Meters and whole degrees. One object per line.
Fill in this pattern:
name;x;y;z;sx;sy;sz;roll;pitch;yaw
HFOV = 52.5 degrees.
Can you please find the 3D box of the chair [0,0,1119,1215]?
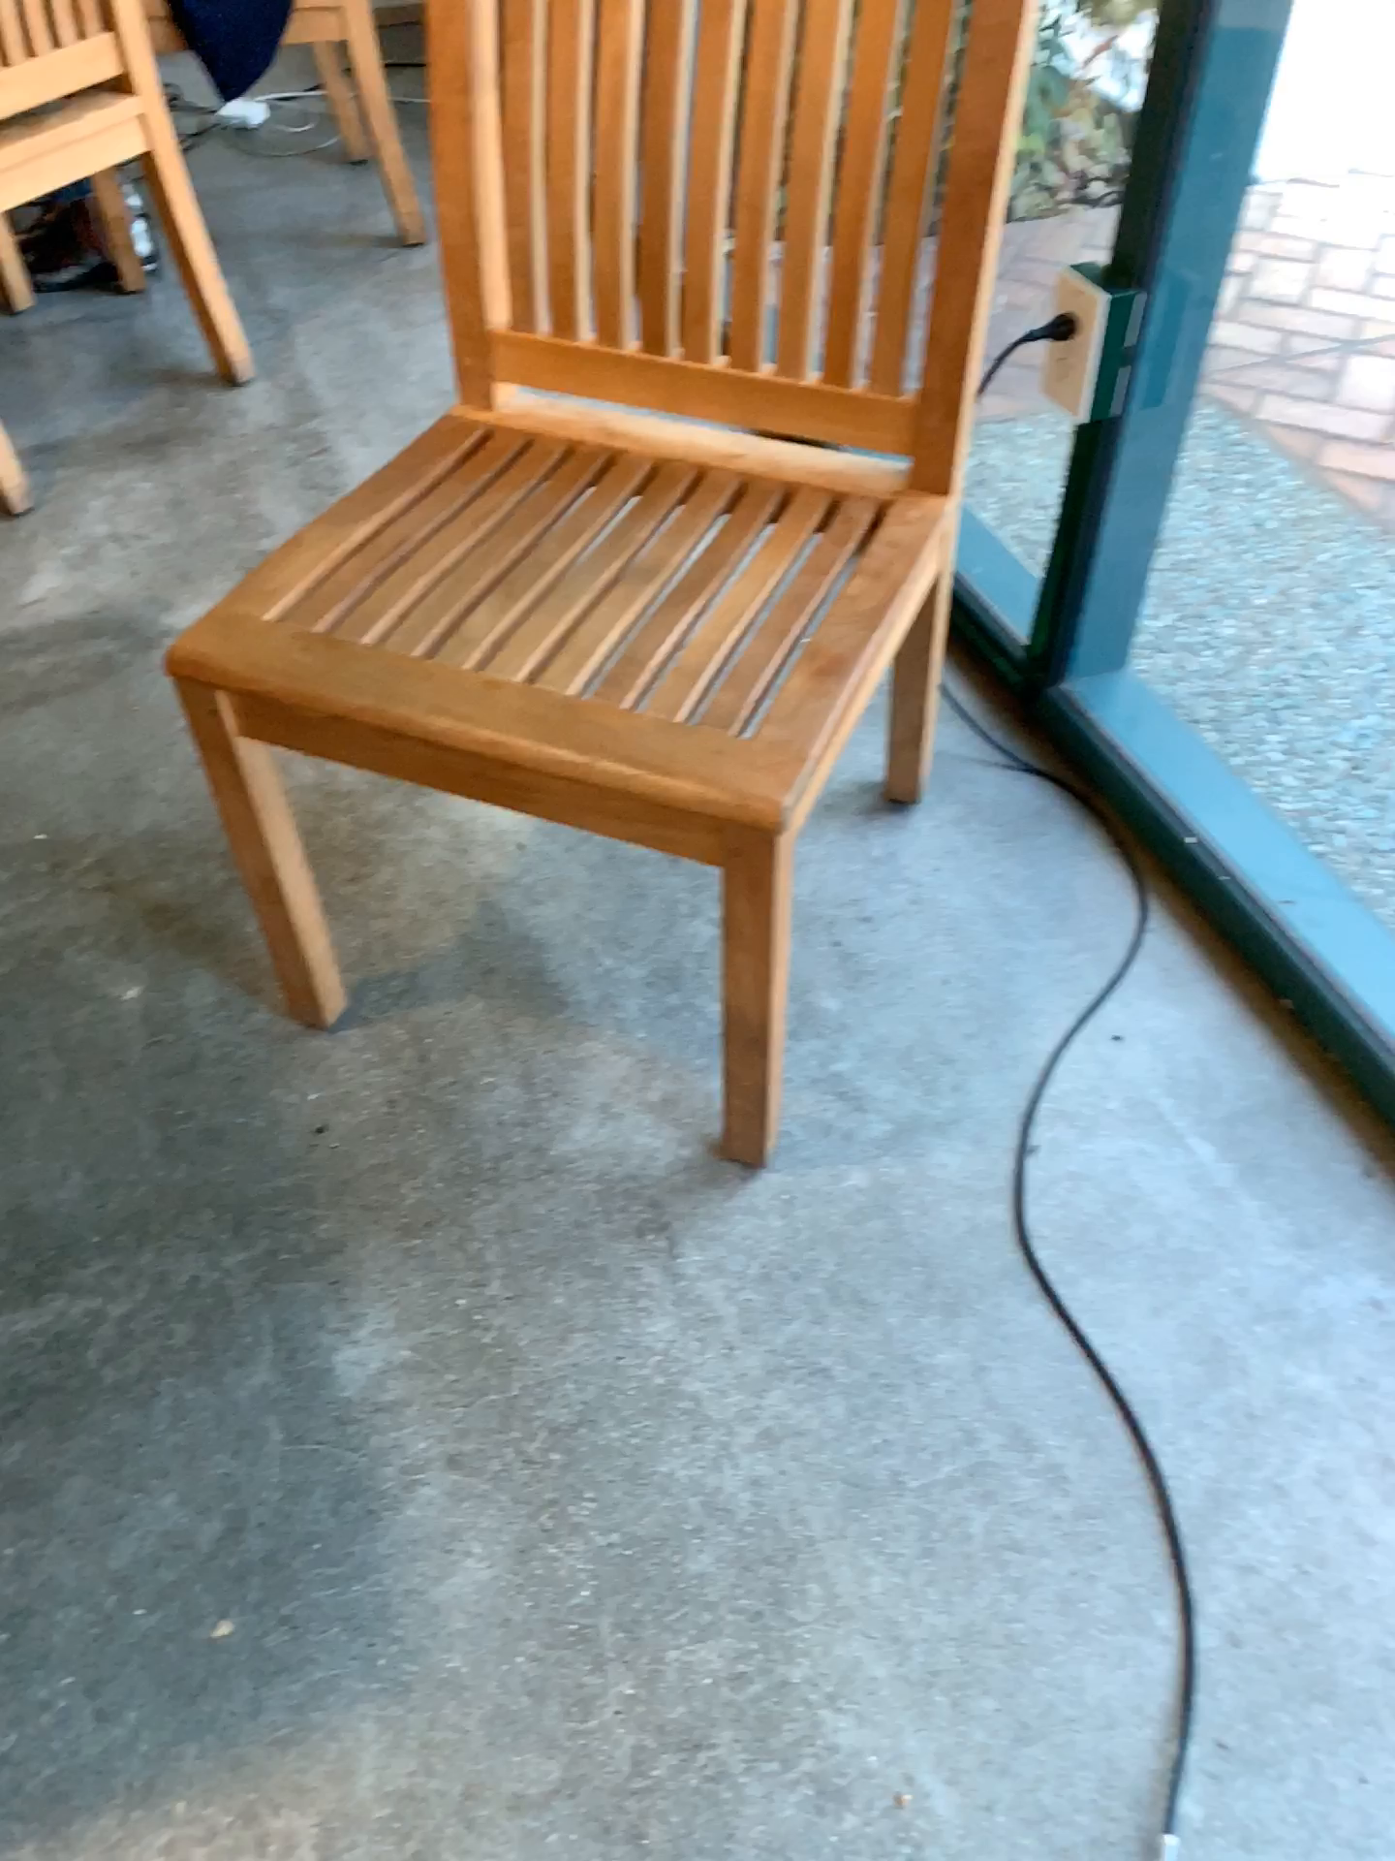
chair;-0.088;-0.356;1.113;0.531;0.915;0.613;16;49;15
